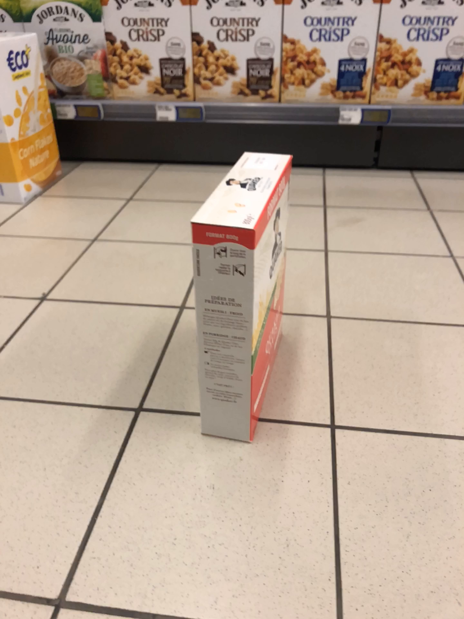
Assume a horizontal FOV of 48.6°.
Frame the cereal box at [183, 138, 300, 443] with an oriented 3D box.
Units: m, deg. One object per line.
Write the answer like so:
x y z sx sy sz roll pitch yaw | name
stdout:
0.017 -0.030 0.519 0.060 0.229 0.211 7 32 11 | cereal box
